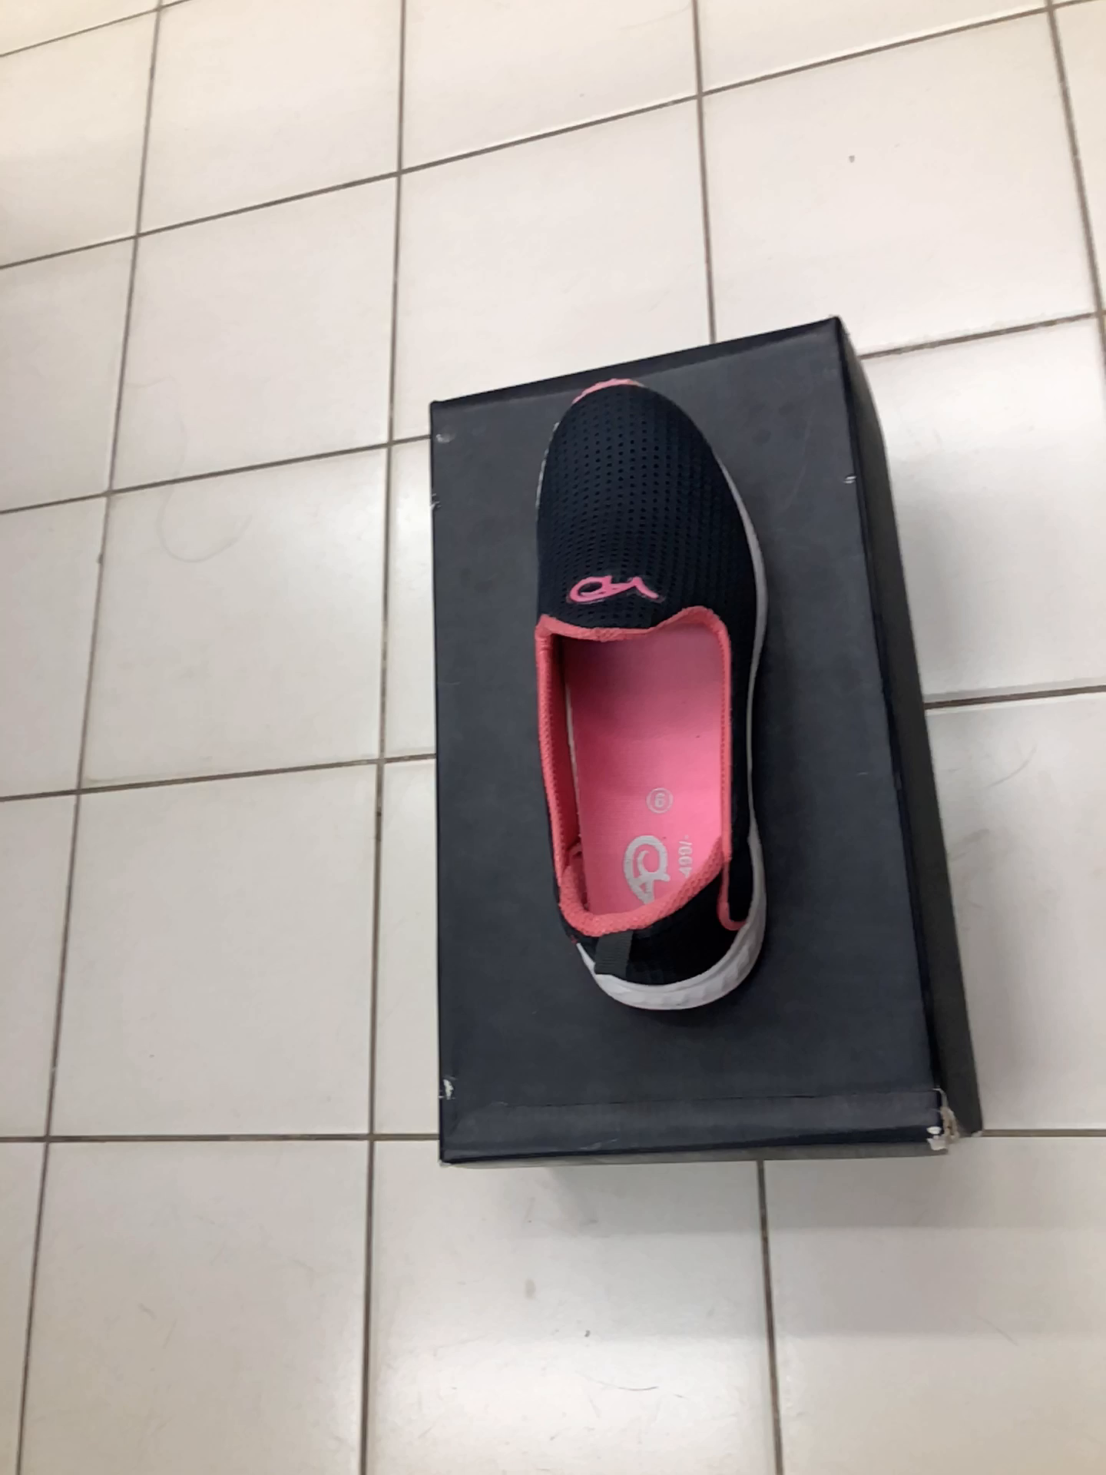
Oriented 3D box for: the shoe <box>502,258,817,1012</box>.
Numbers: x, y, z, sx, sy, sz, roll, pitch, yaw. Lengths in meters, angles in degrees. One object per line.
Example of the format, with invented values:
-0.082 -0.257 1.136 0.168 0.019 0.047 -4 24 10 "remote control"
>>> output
0.041 -0.034 0.482 0.090 0.100 0.270 -7 73 17 "shoe"
